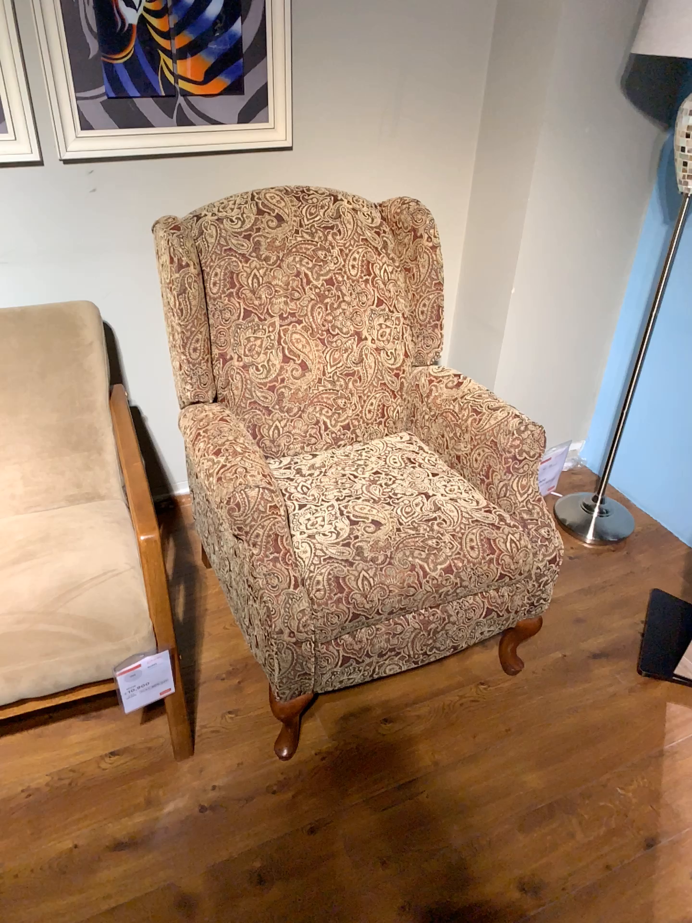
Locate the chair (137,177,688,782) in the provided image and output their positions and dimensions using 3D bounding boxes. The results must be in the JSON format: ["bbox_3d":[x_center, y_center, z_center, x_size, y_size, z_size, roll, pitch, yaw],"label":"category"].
[{"bbox_3d":[0.039,-0.032,1.558,0.750,0.956,0.763,-11,35,-21],"label":"chair"}]
